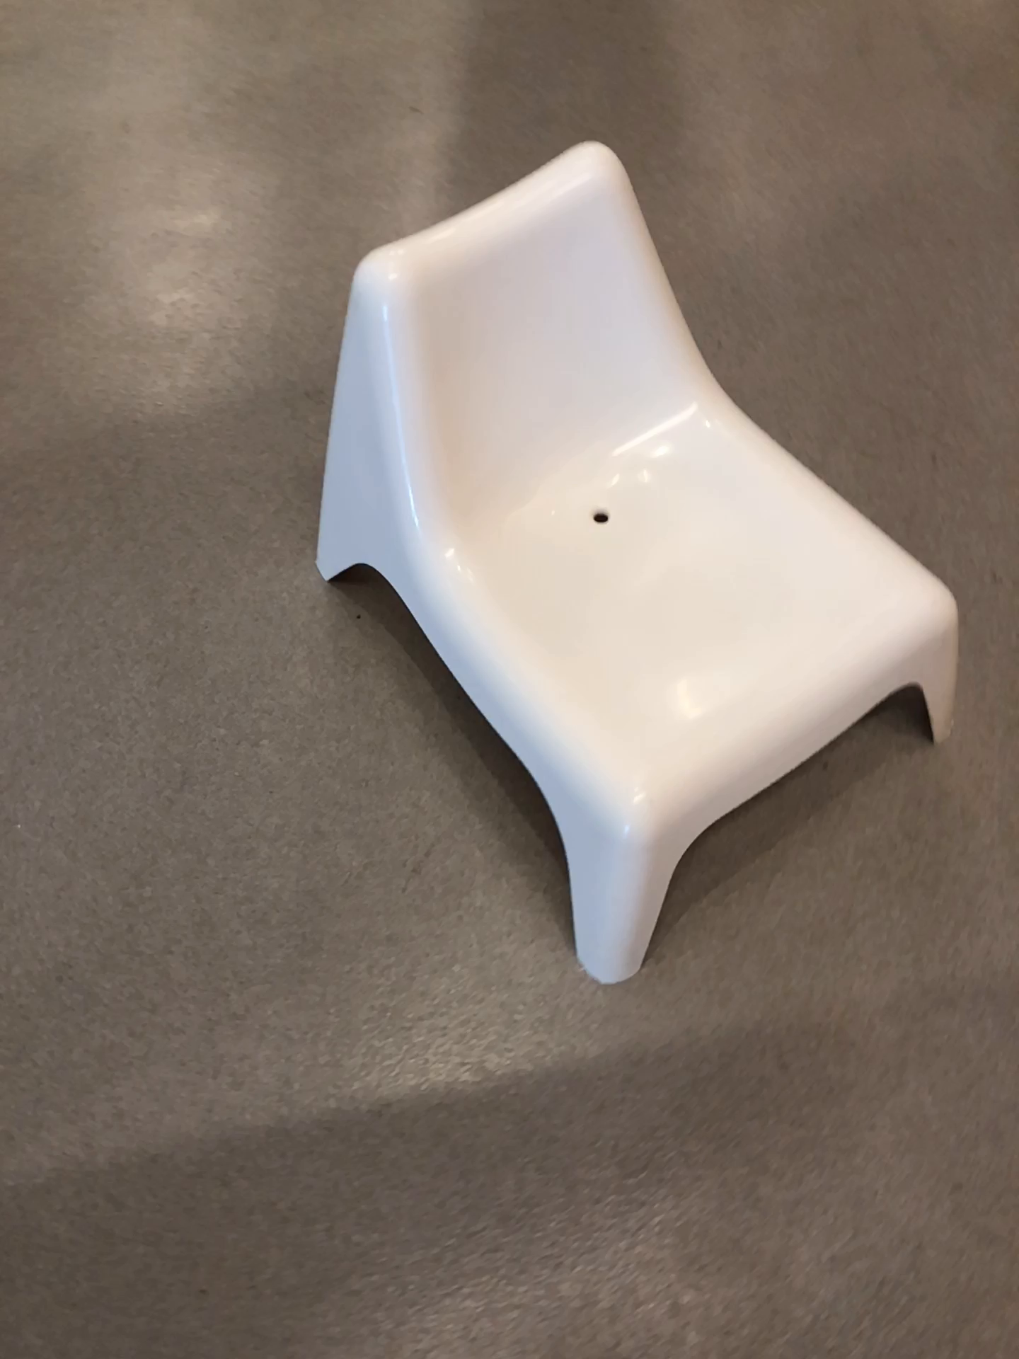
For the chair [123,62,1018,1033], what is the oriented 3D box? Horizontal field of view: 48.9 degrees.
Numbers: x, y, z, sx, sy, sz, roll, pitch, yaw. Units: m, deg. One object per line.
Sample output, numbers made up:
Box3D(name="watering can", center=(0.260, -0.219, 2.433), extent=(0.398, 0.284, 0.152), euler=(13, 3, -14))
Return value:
Box3D(name="chair", center=(0.086, -0.141, 1.096), extent=(0.530, 0.399, 0.691), euler=(-35, 66, -15))
